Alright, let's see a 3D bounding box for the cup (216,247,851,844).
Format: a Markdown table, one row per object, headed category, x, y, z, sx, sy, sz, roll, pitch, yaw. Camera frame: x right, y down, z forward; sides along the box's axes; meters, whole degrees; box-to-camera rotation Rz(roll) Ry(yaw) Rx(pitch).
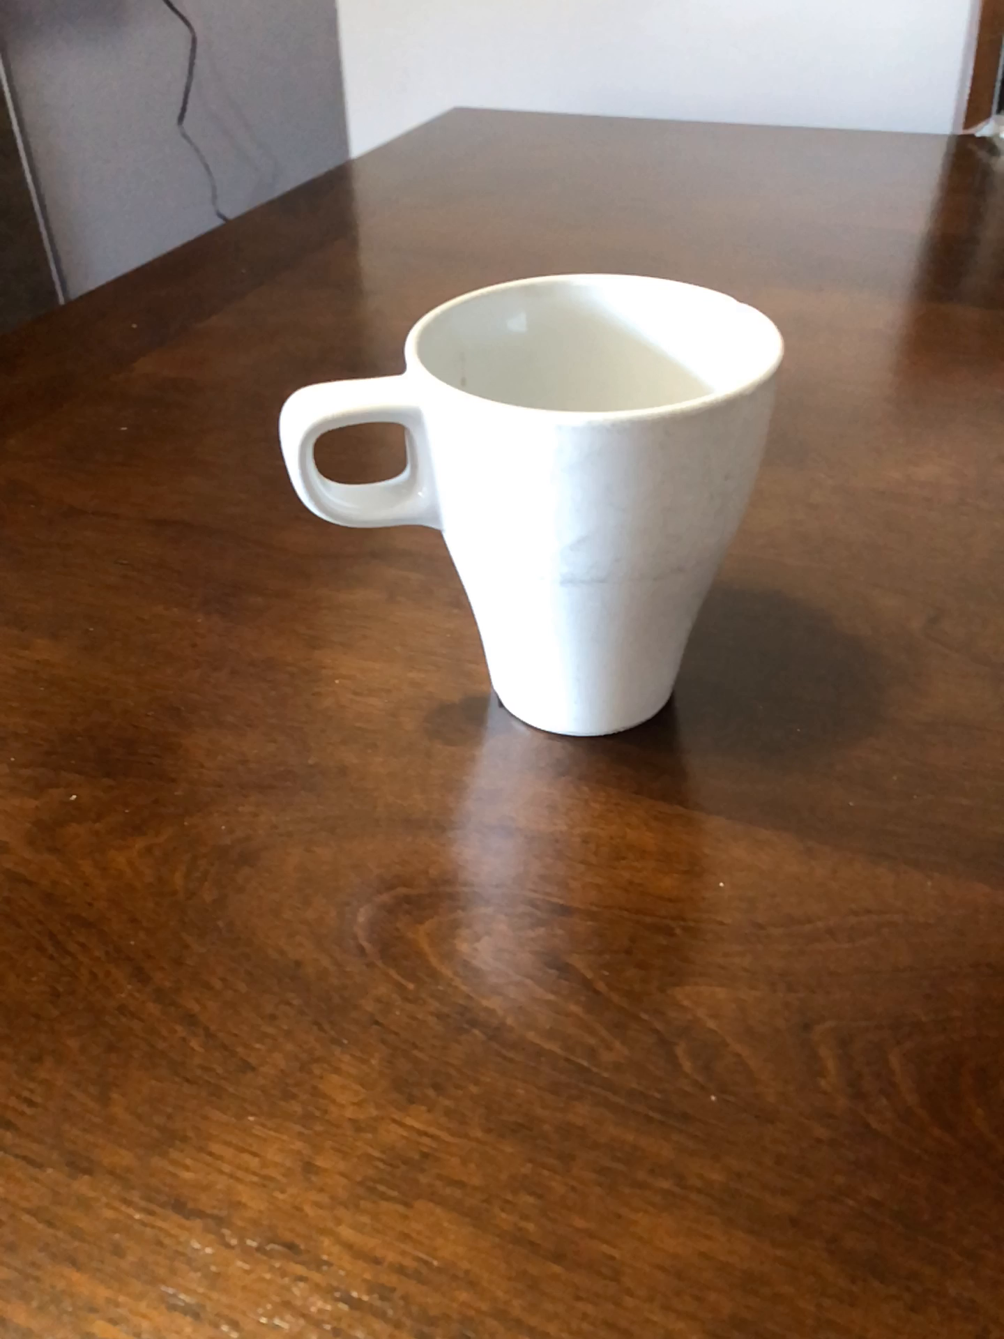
| category | x | y | z | sx | sy | sz | roll | pitch | yaw |
| --- | --- | --- | --- | --- | --- | --- | --- | --- | --- |
| cup | 0.005 | -0.036 | 0.279 | 0.120 | 0.100 | 0.080 | -15 | 38 | -17 |
